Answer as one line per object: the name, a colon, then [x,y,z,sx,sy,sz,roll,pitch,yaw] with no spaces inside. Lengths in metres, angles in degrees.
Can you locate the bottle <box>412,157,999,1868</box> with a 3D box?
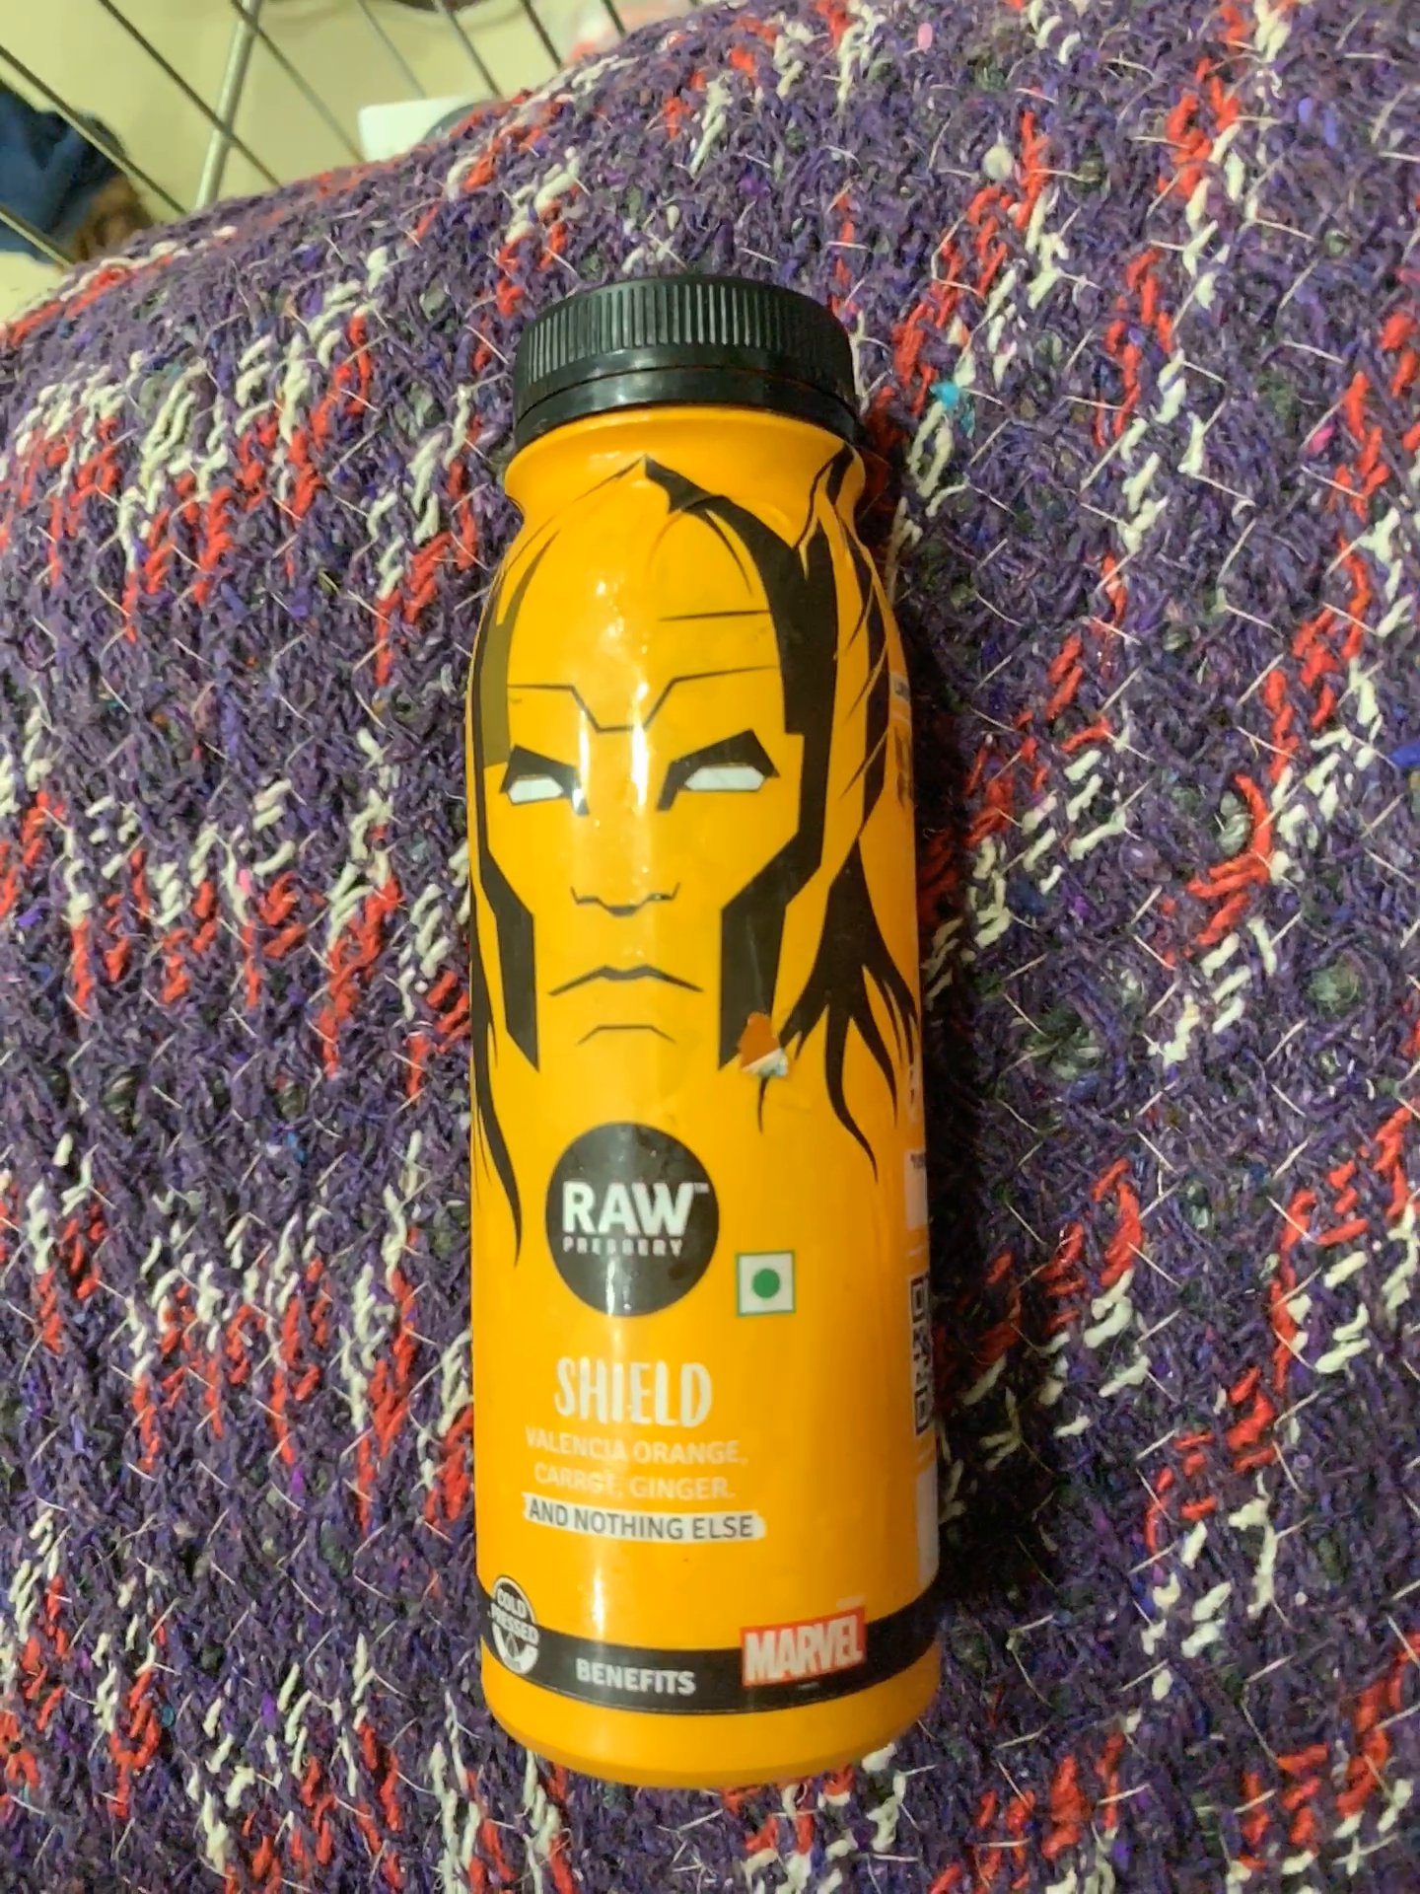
bottle: [0.003,0.005,0.171,0.050,0.050,0.160,-2,85,22]
